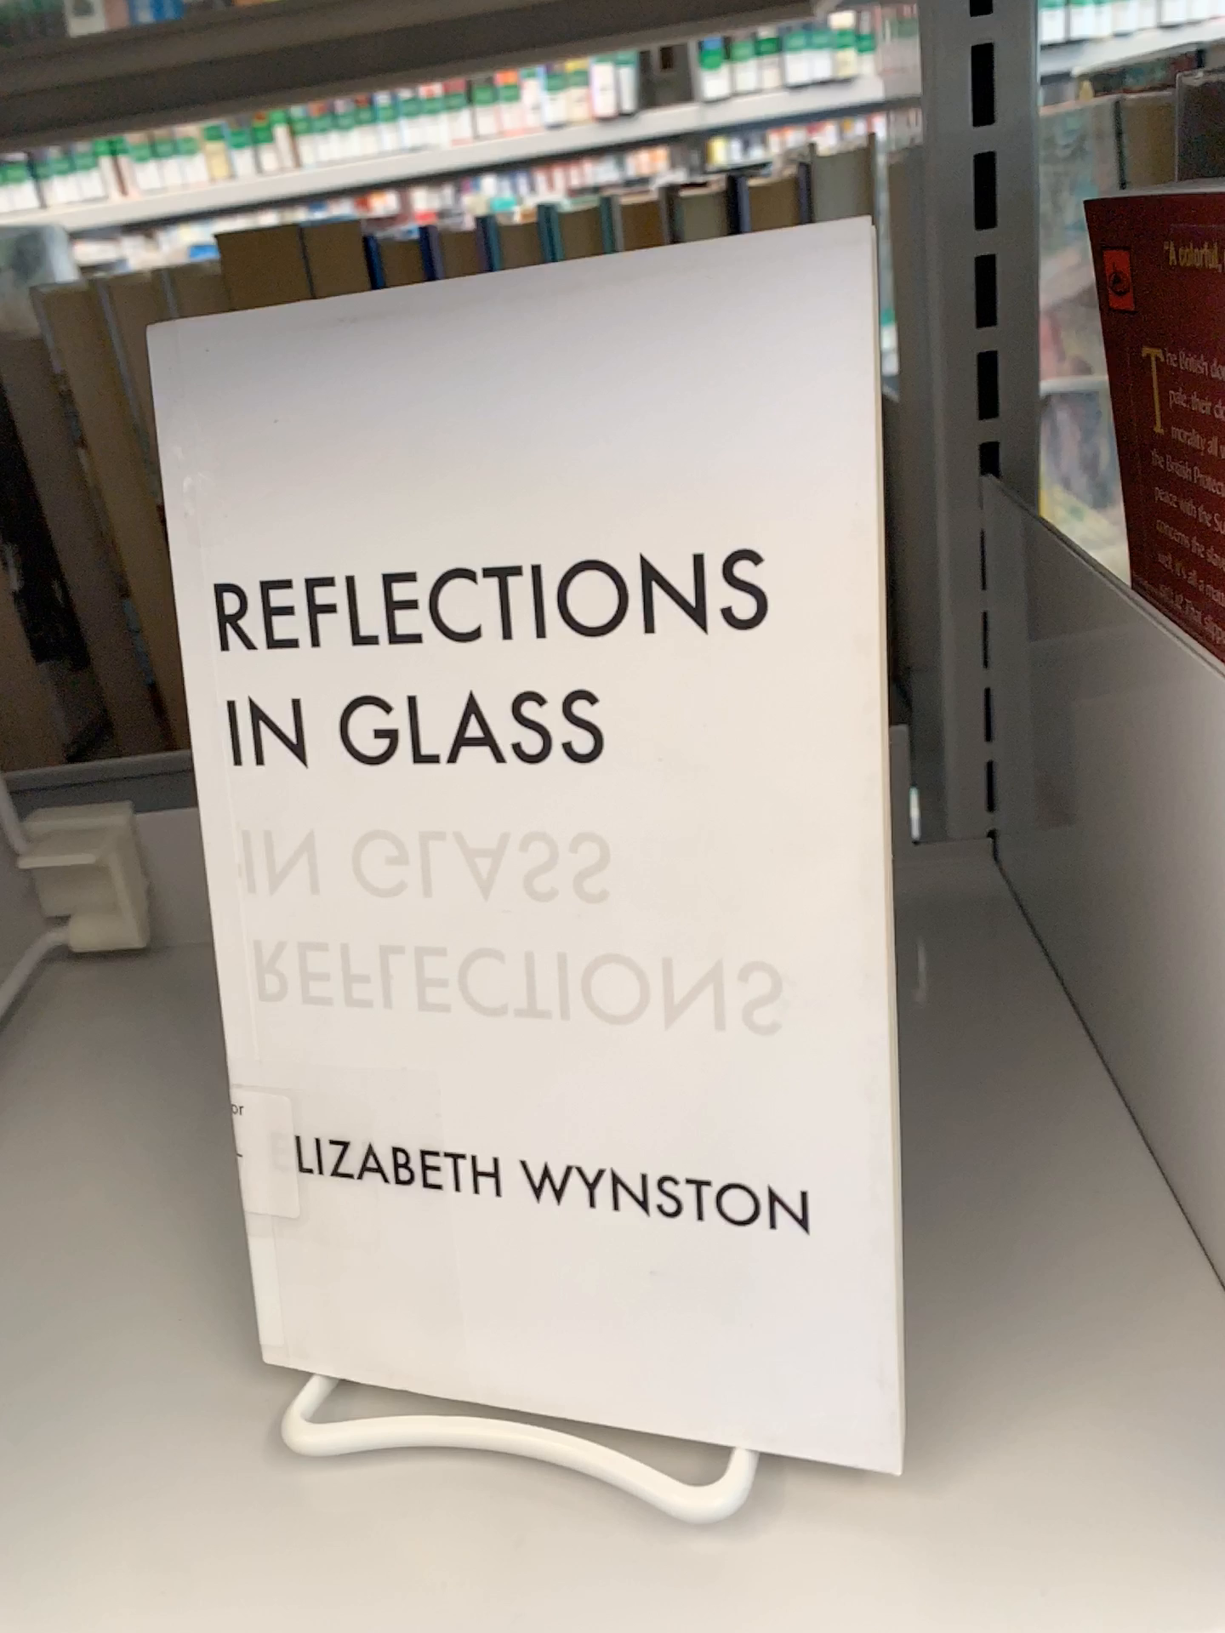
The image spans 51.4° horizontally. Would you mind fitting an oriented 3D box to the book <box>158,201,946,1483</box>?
[{"bbox_3d":[-0.009,0.010,0.220,0.127,0.196,0.018,1,10,19],"label":"book"}]
